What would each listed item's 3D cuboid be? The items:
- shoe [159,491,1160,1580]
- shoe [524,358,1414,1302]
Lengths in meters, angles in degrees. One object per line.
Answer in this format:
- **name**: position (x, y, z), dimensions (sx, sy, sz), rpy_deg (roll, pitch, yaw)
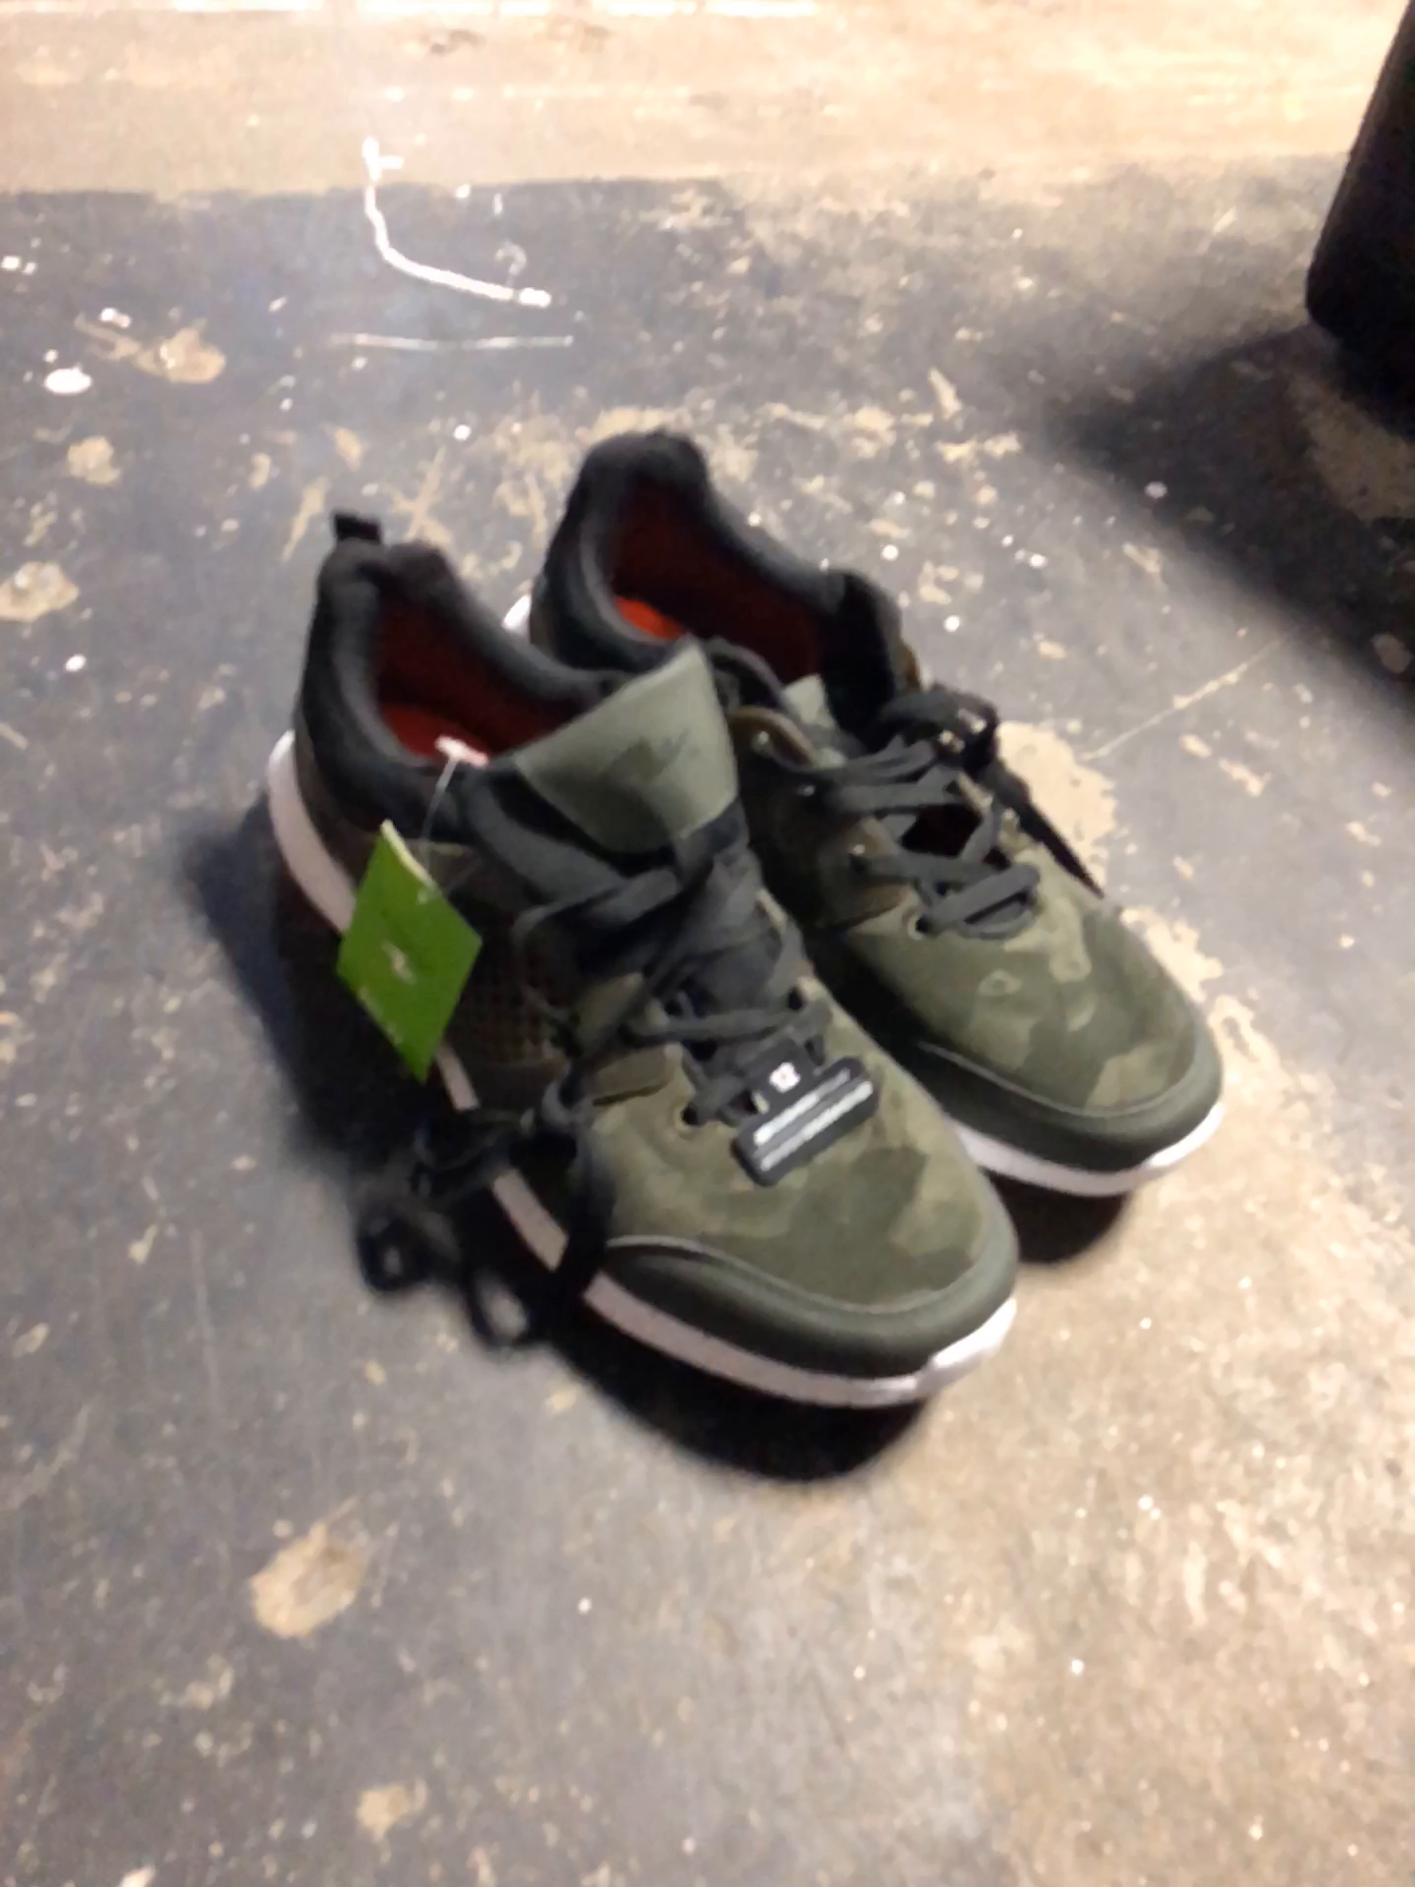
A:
- **shoe**: position (-0.032, 0.014, 0.461), dimensions (0.110, 0.119, 0.301), rpy_deg (-29, 63, -27)
- **shoe**: position (0.066, -0.046, 0.494), dimensions (0.110, 0.129, 0.271), rpy_deg (-29, 63, -27)
